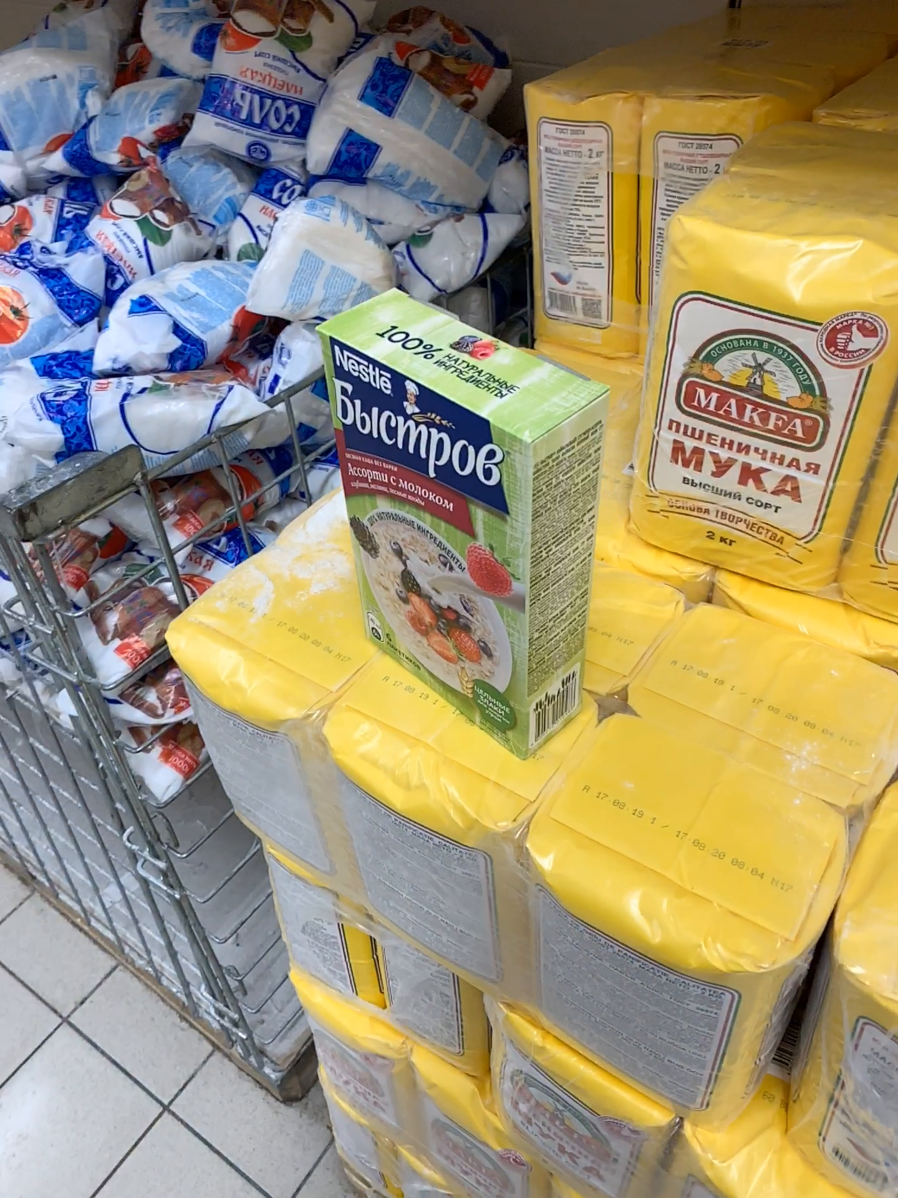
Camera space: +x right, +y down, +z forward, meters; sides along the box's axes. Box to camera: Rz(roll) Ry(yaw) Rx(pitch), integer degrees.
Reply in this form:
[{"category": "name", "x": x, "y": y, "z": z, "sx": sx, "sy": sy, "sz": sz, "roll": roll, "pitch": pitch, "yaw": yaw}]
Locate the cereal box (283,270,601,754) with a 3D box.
[{"category": "cereal box", "x": 0.000, "y": -0.033, "z": 0.406, "sx": 0.050, "sy": 0.178, "sz": 0.121, "roll": -36, "pitch": 53, "yaw": -26}]
